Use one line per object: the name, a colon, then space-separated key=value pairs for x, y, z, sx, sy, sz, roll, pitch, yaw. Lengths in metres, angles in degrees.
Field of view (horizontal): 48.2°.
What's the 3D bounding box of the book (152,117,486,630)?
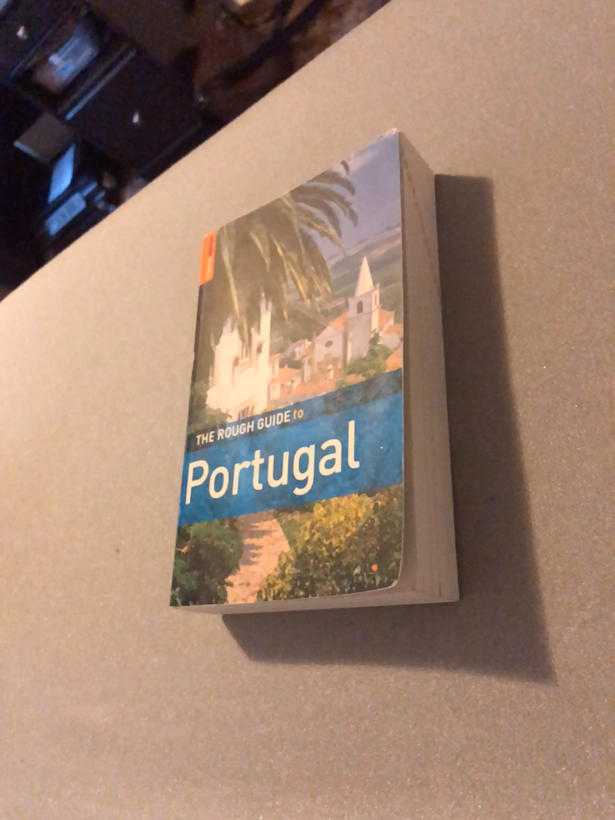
book: x=0.001 y=-0.010 z=0.313 sx=0.139 sy=0.040 sz=0.204 roll=-16 pitch=62 yaw=37
